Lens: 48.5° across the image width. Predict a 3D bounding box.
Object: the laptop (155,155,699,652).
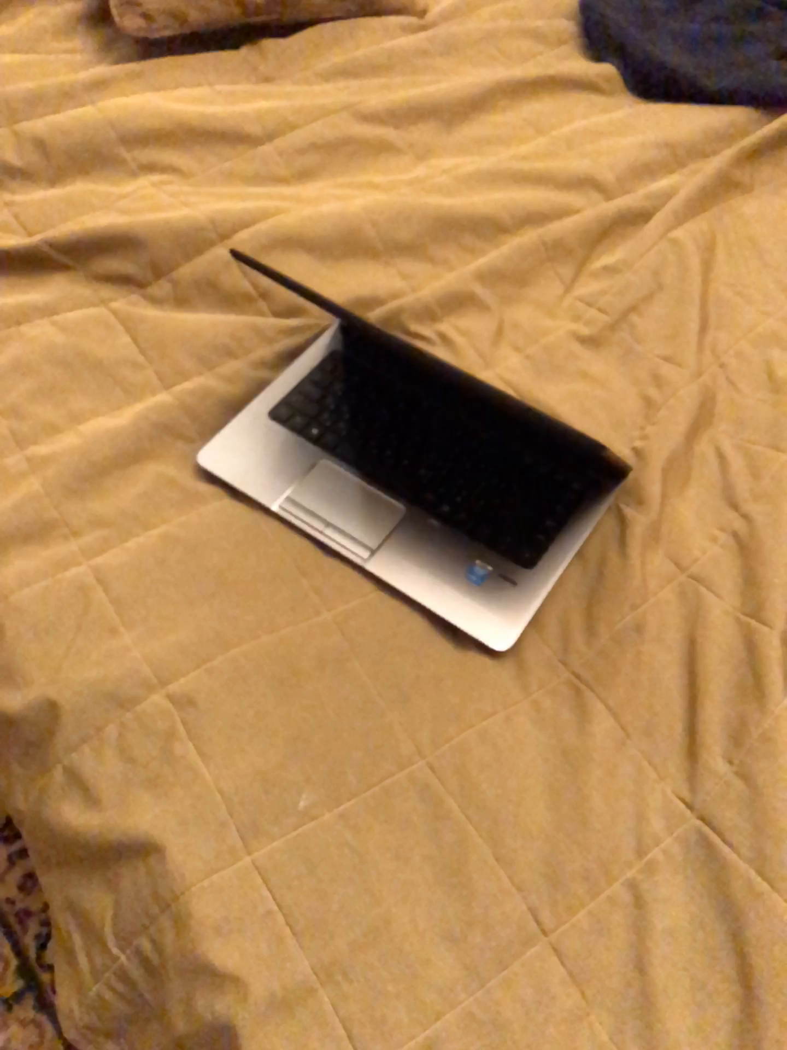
[{"bbox_3d":[0.023,-0.106,0.724,0.331,0.189,0.225,31,61,16],"label":"laptop"}]
